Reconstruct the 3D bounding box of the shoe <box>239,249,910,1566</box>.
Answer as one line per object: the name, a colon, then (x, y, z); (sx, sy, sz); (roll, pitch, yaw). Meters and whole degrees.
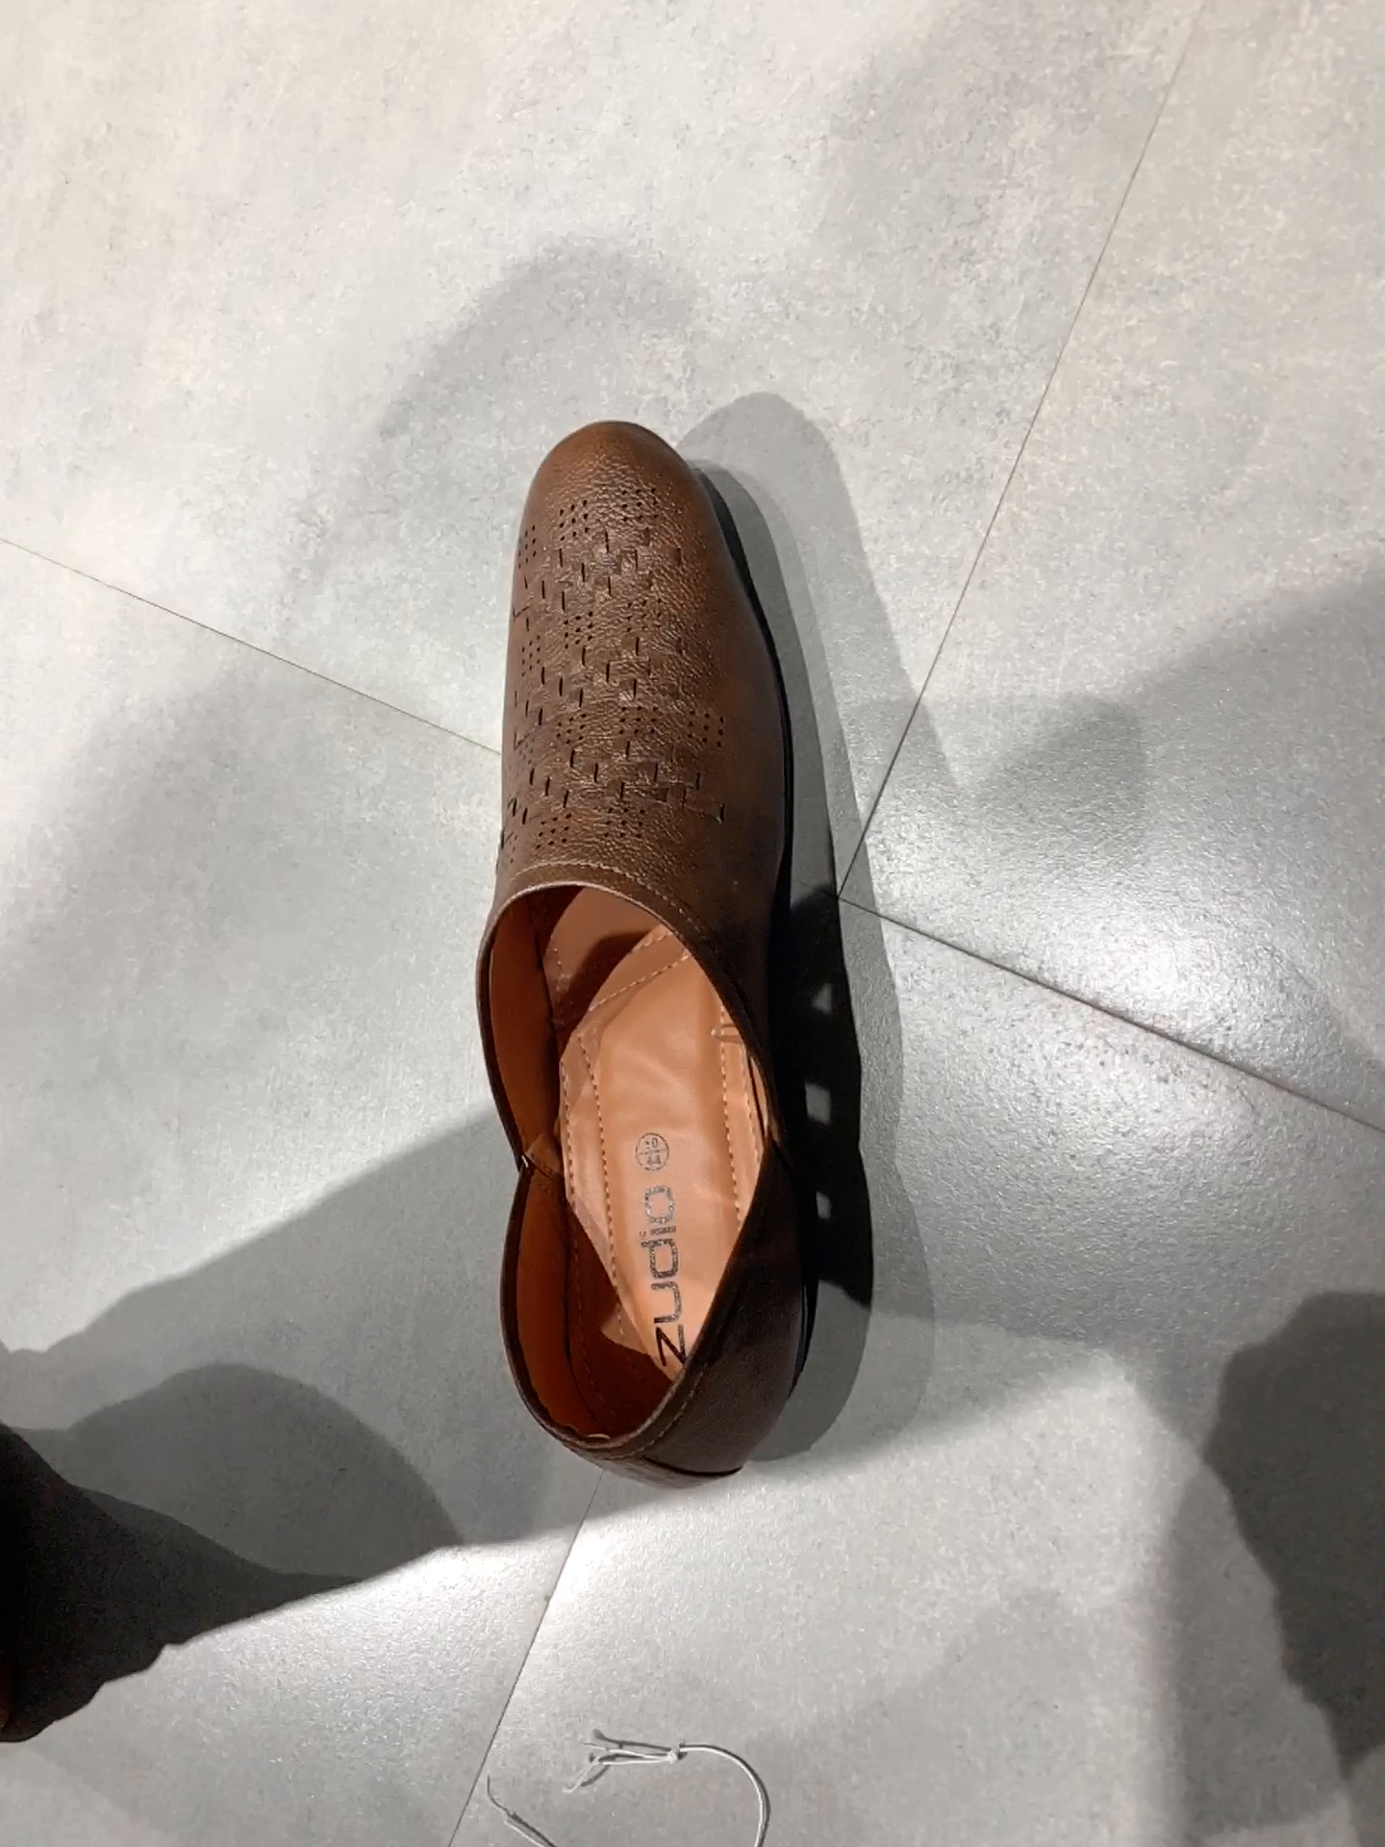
shoe: (-0.030, 0.000, 0.375); (0.100, 0.110, 0.290); (-12, 80, 25)
